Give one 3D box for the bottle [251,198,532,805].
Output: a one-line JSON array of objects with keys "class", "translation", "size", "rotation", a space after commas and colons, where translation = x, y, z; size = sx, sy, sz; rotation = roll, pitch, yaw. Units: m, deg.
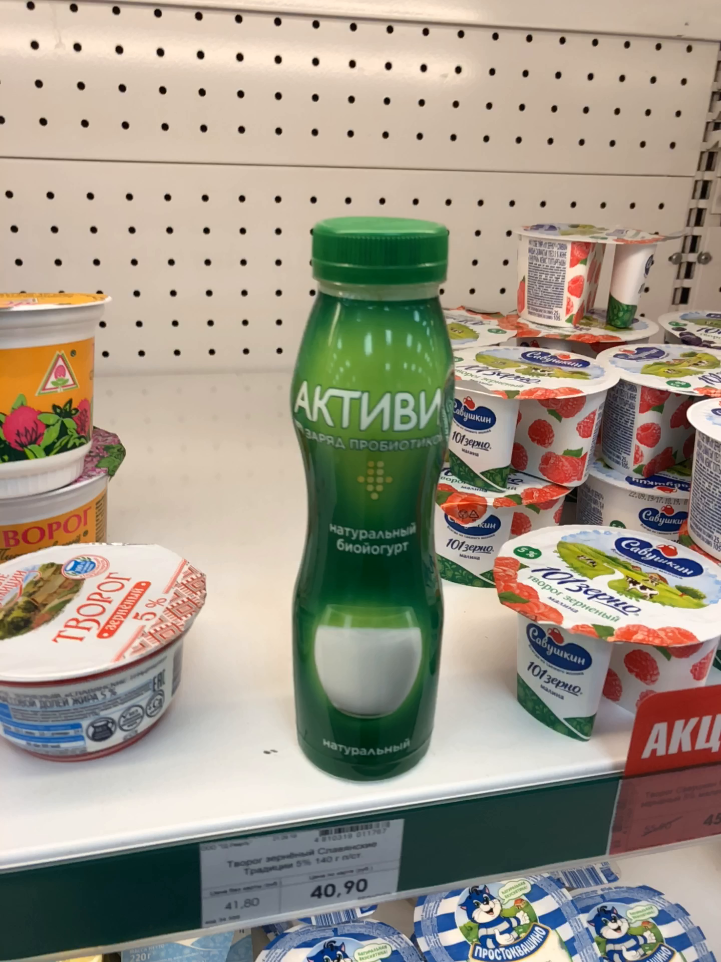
[{"class": "bottle", "translation": [0.005, 0.010, 0.263], "size": [0.070, 0.189, 0.060], "rotation": [2, 23, 0]}]
